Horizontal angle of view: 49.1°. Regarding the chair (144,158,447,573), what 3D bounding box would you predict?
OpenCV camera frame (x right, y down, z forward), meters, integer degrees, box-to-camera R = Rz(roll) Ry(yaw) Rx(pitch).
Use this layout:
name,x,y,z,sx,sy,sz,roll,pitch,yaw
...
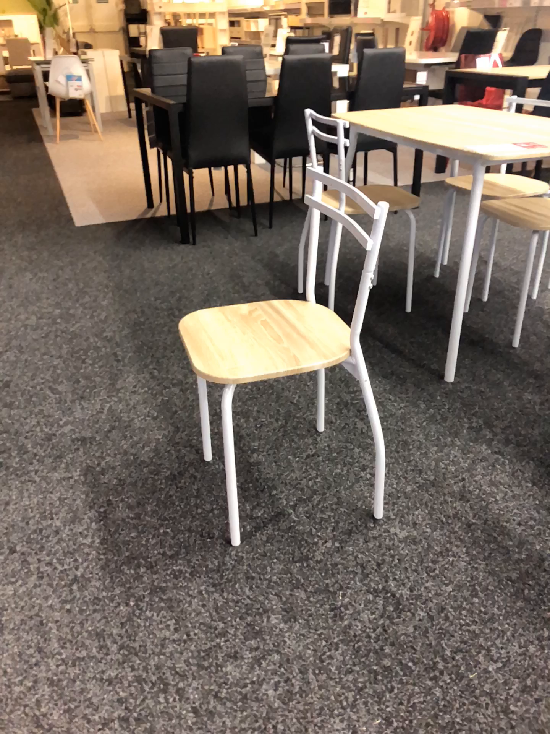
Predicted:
name,x,y,z,sx,sy,sz,roll,pitch,yaw
chair,0.012,-0.037,1.373,0.441,0.726,0.502,-12,31,-19
